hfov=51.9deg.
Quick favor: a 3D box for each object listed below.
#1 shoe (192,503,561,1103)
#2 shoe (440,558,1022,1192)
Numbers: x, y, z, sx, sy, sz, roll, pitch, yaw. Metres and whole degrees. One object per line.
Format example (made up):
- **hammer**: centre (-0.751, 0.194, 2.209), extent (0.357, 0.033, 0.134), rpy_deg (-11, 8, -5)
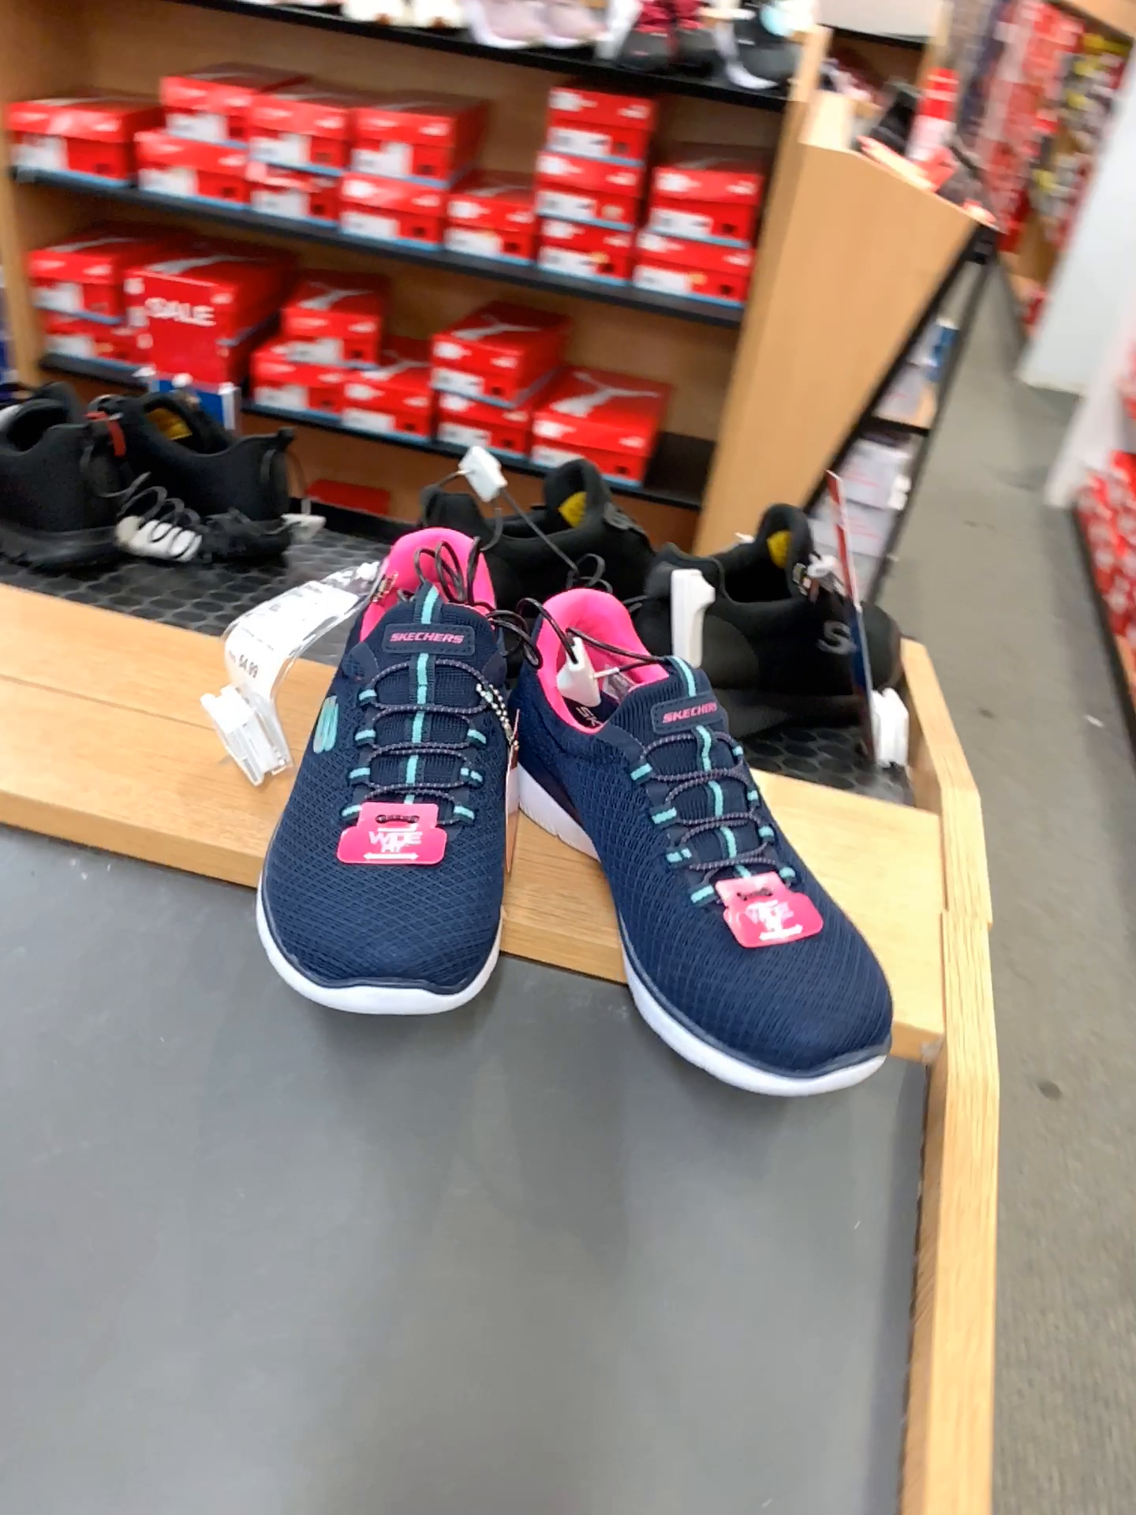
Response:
- **shoe**: centre (-0.069, 0.003, 0.479), extent (0.110, 0.099, 0.251), rpy_deg (4, 38, -7)
- **shoe**: centre (0.043, 0.026, 0.479), extent (0.100, 0.090, 0.261), rpy_deg (-11, 42, -24)
